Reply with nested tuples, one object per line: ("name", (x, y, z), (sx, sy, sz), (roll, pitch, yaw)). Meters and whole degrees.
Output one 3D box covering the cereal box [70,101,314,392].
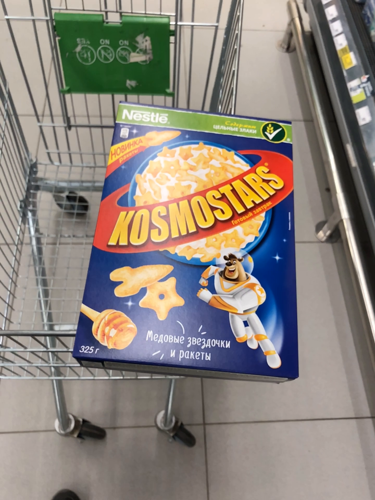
("cereal box", (0.013, -0.013, 0.424), (0.200, 0.060, 0.281), (5, 66, -1))
